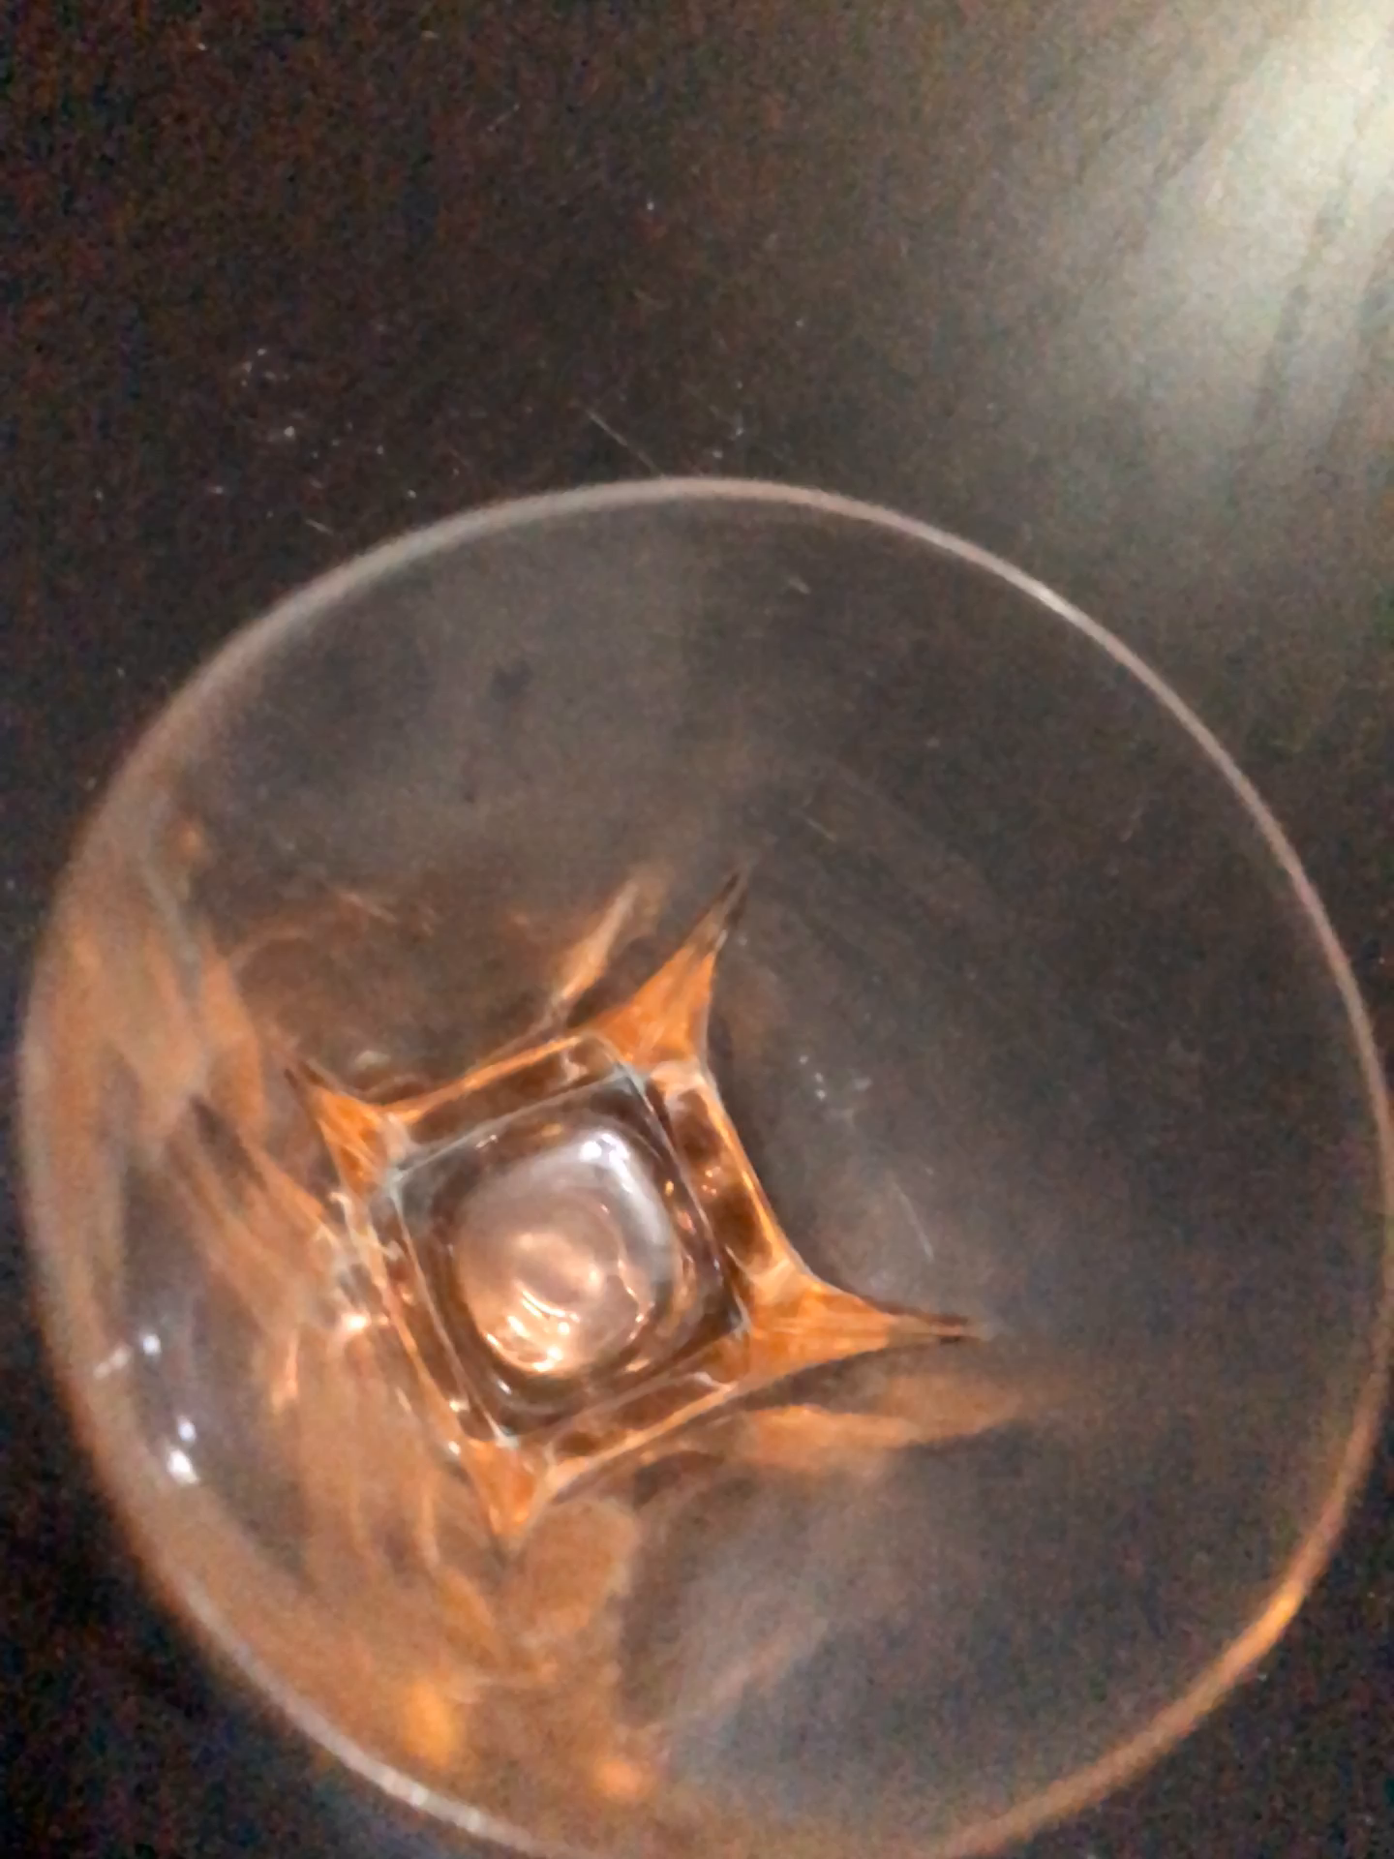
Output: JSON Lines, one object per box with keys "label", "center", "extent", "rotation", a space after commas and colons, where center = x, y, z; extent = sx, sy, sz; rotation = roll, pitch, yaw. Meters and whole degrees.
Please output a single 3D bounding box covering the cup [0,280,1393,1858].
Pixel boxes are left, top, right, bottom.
{"label": "cup", "center": [-0.002, 0.024, 0.146], "extent": [0.110, 0.100, 0.110], "rotation": [6, 69, -15]}
